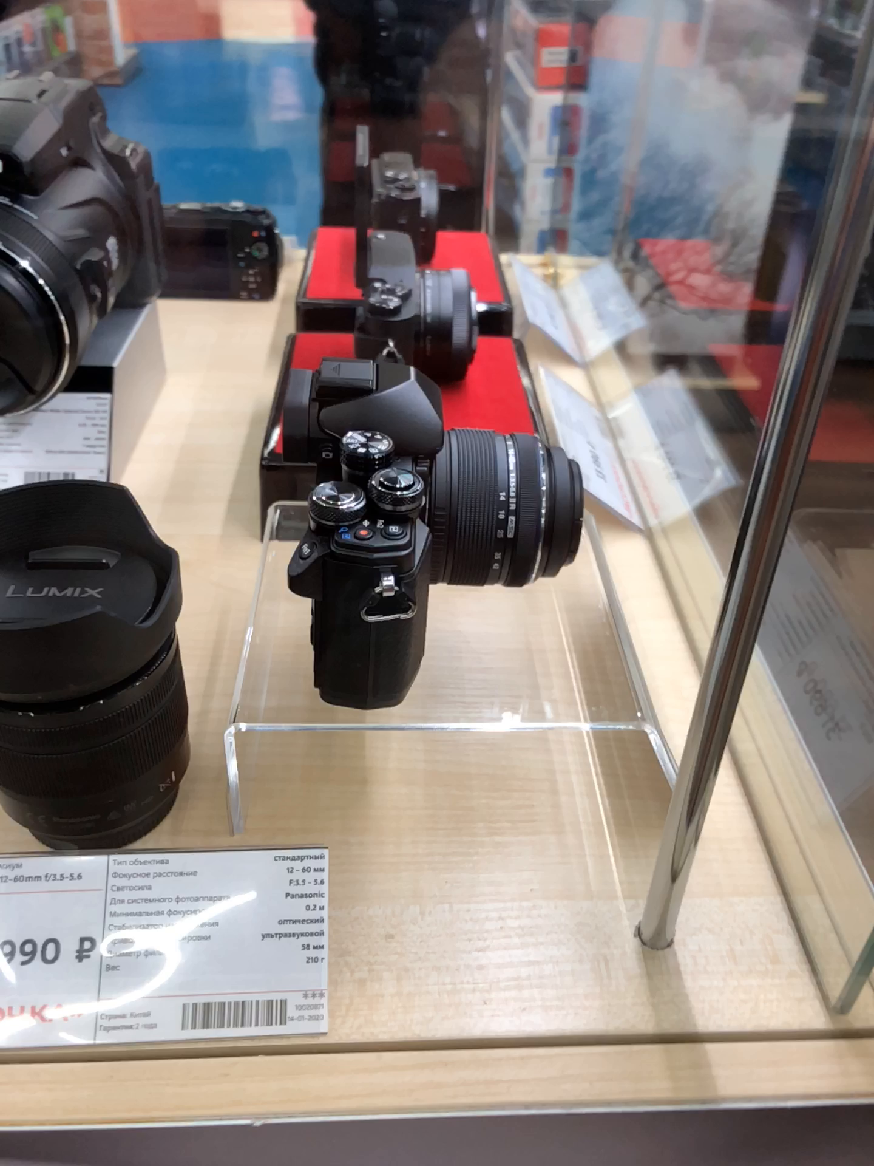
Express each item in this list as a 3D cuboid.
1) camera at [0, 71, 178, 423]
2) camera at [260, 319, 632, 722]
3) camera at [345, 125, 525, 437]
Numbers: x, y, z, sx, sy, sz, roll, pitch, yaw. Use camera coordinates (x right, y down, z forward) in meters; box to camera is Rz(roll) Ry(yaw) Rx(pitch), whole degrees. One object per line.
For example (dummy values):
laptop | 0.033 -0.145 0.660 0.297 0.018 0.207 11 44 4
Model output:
camera | -0.211 -0.174 0.479 0.104 0.109 0.186 3 36 1
camera | -0.001 -0.026 0.336 0.101 0.088 0.119 0 36 -3
camera | -0.005 -0.148 0.468 0.072 0.109 0.119 0 36 -3
